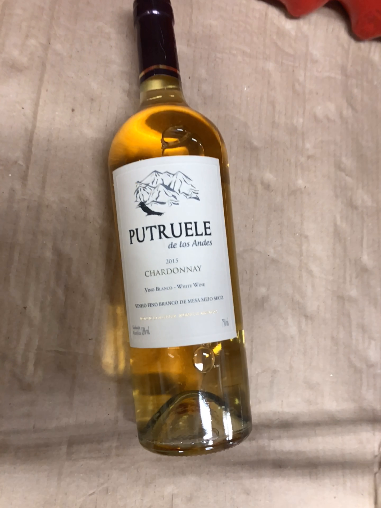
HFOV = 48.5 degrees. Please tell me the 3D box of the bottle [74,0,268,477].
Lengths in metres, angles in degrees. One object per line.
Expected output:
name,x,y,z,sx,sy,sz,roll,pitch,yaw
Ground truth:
bottle,-0.012,-0.034,0.267,0.080,0.070,0.300,-6,83,4
